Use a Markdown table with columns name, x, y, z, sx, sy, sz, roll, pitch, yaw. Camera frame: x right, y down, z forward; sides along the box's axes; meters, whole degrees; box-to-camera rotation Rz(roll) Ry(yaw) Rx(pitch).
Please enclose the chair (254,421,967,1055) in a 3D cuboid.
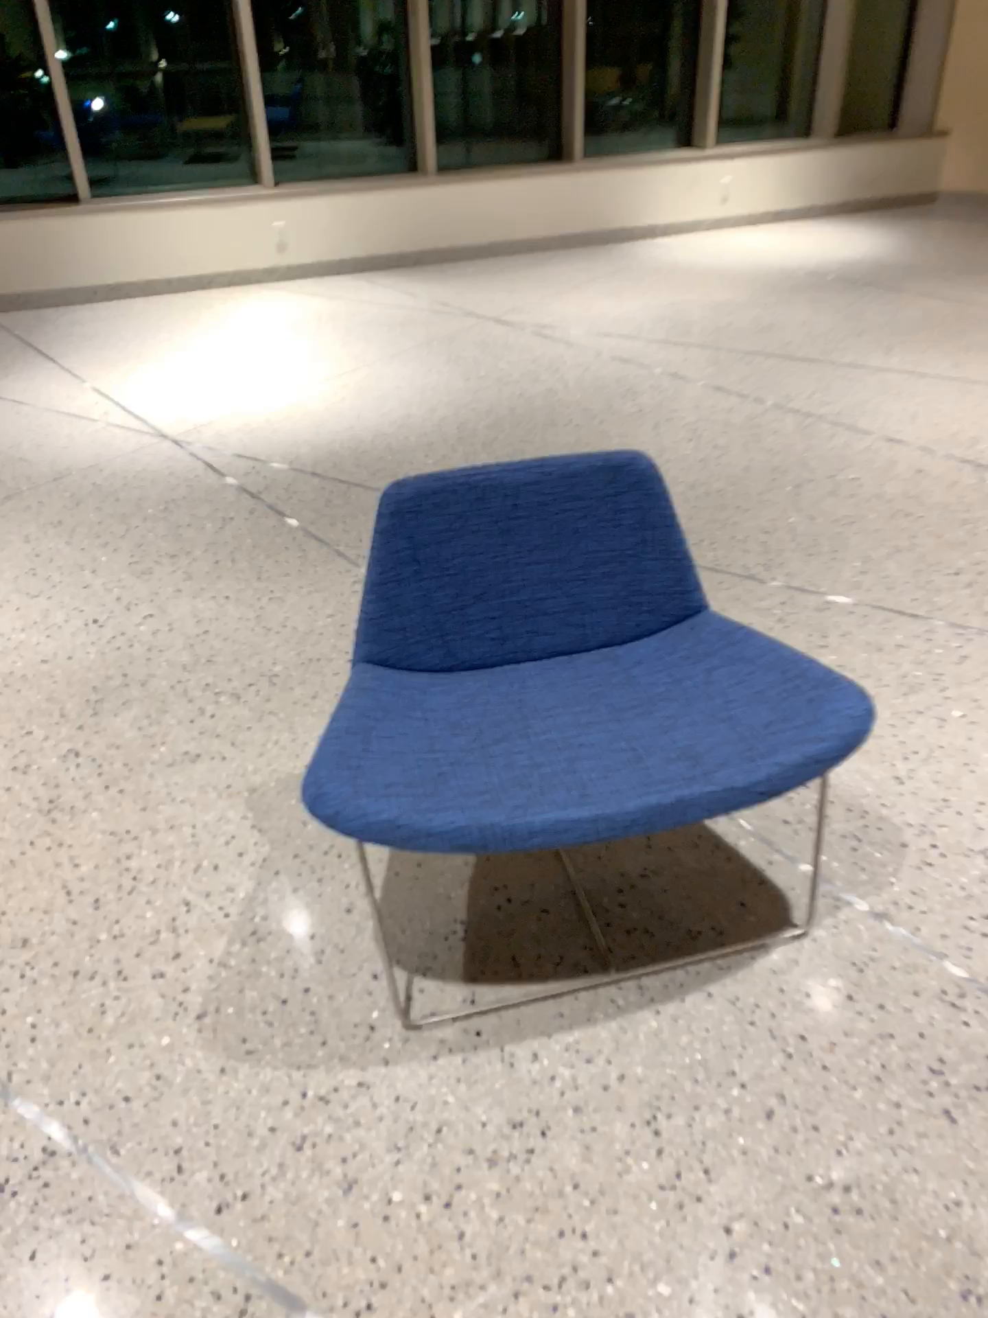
| name | x | y | z | sx | sy | sz | roll | pitch | yaw |
| --- | --- | --- | --- | --- | --- | --- | --- | --- | --- |
| chair | 0.129 | 0.079 | 1.743 | 0.942 | 0.698 | 0.667 | -9 | 33 | -12 |
